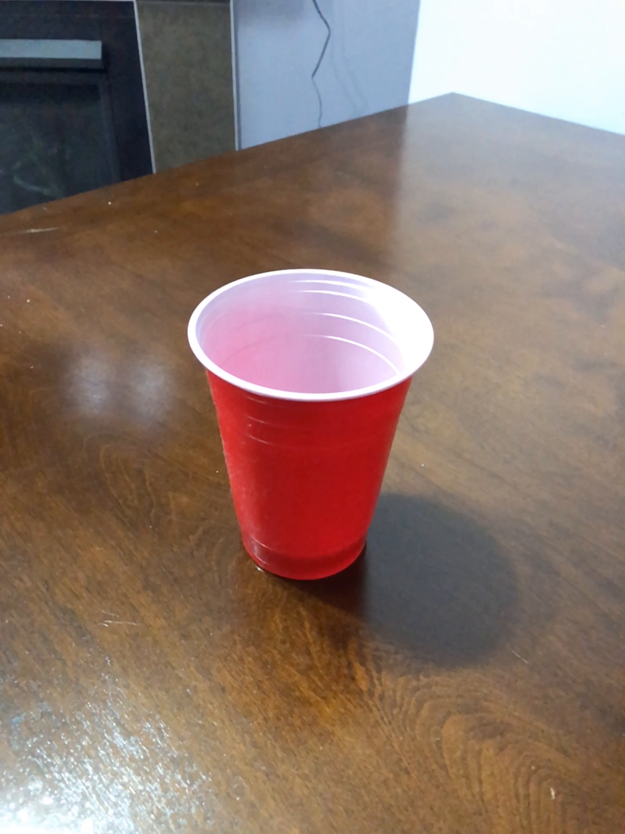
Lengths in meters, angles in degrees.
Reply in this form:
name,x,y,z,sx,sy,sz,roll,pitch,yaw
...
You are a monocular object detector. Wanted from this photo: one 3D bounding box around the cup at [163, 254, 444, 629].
name,x,y,z,sx,sy,sz,roll,pitch,yaw
cup,-0.001,0.009,0.292,0.090,0.120,0.090,2,36,-1
